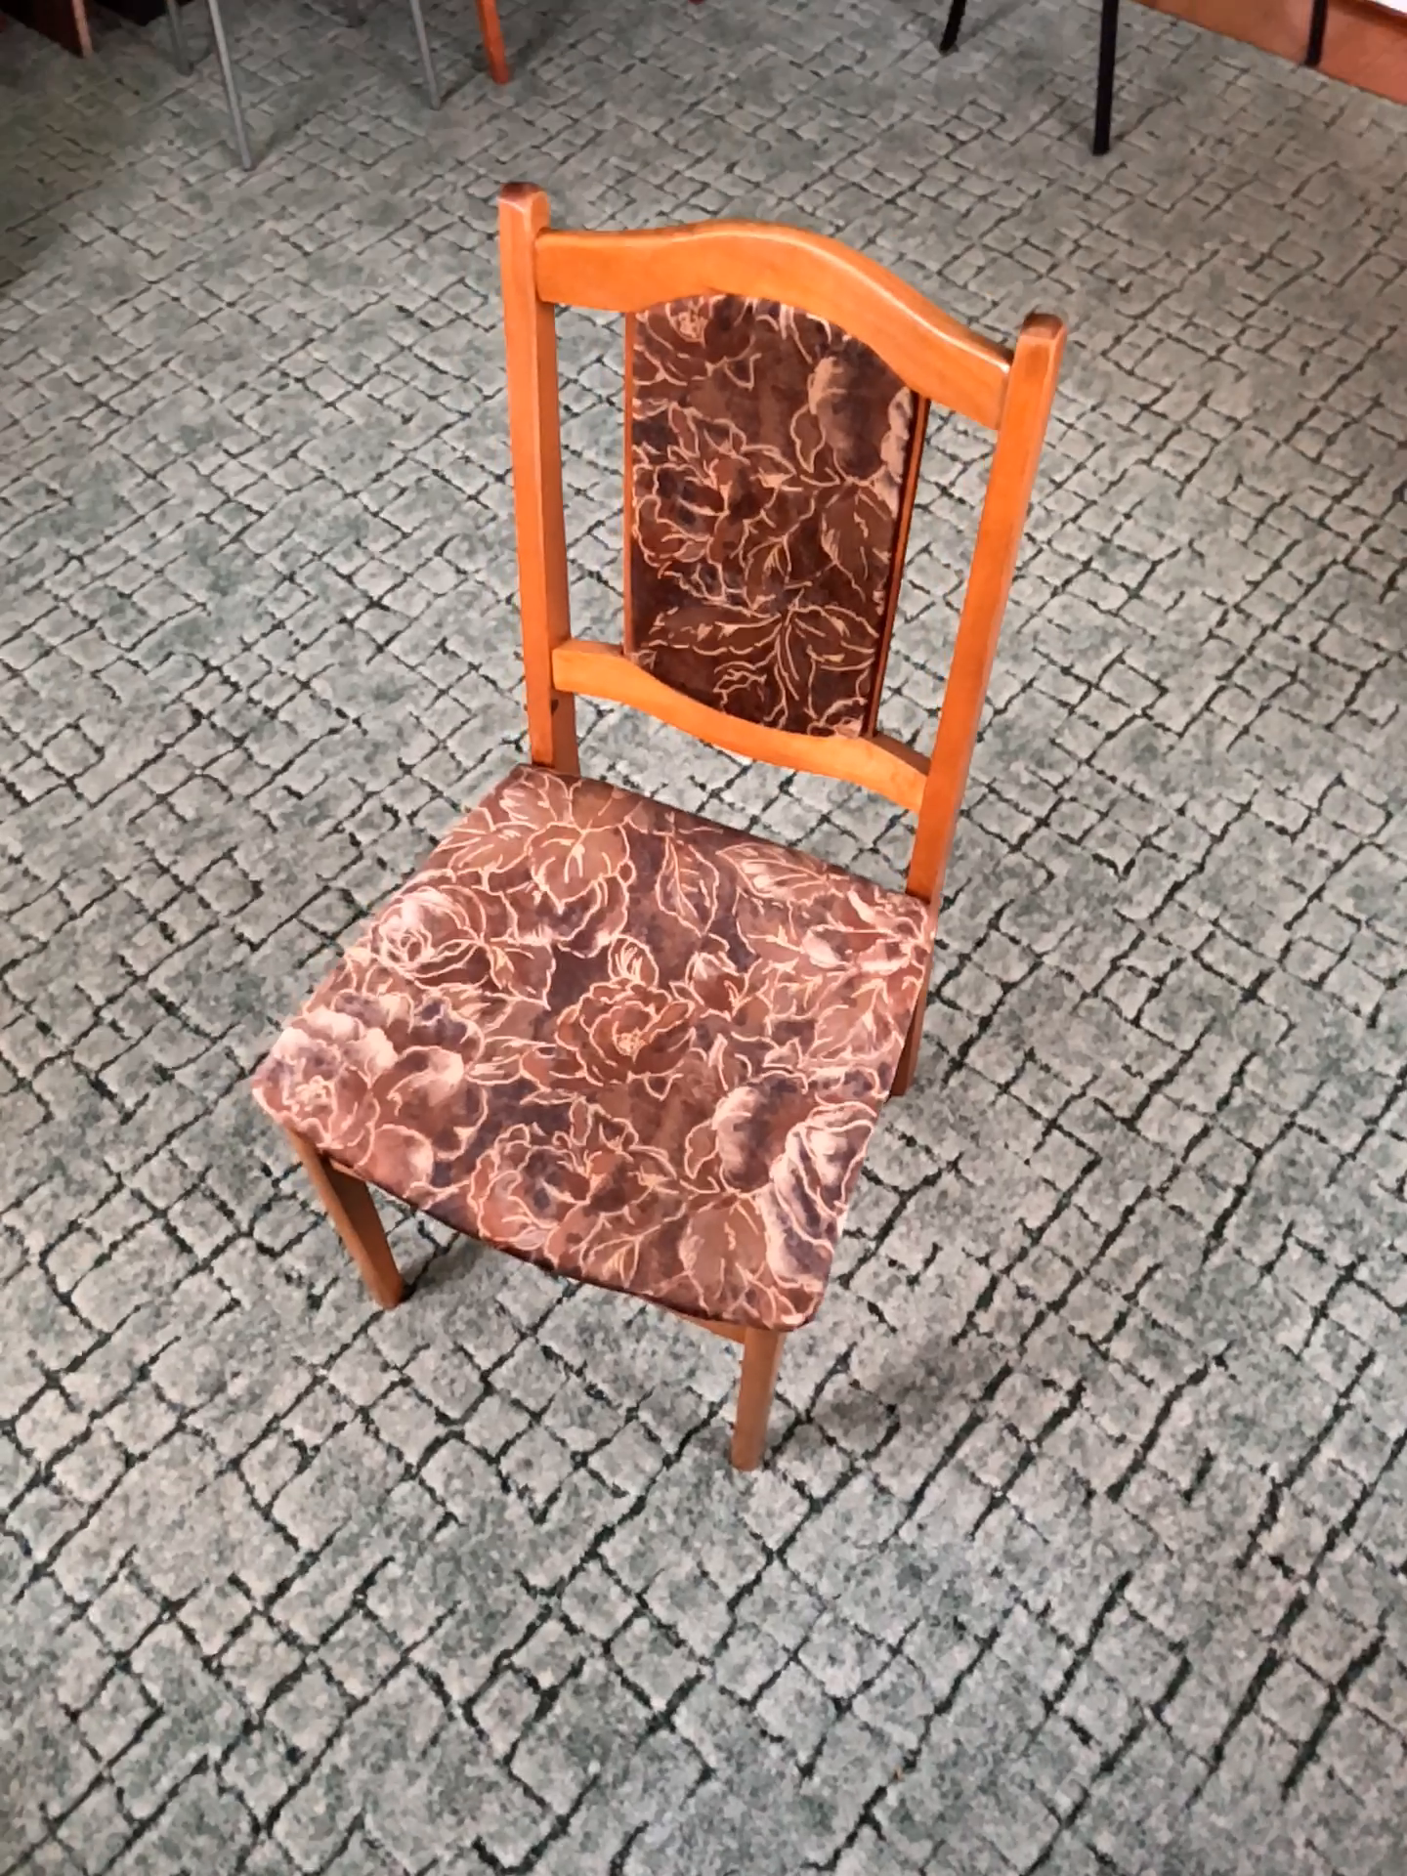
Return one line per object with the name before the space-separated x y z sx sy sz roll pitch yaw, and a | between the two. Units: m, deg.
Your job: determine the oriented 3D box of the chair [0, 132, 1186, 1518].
chair | -0.035 -0.016 1.221 0.480 0.875 0.553 22 59 15
